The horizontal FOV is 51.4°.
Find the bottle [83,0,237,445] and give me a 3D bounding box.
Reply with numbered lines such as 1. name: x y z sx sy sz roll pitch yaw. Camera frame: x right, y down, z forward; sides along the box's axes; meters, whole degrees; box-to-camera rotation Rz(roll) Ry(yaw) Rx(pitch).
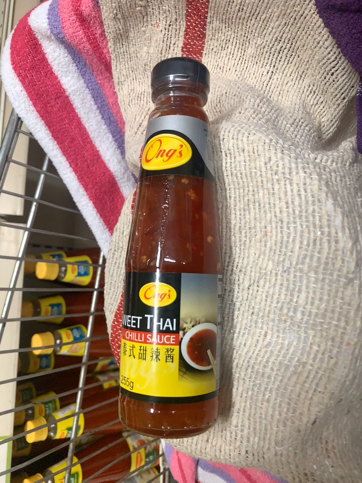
1. bottle: -0.007 -0.010 0.192 0.060 0.050 0.190 0 86 19
